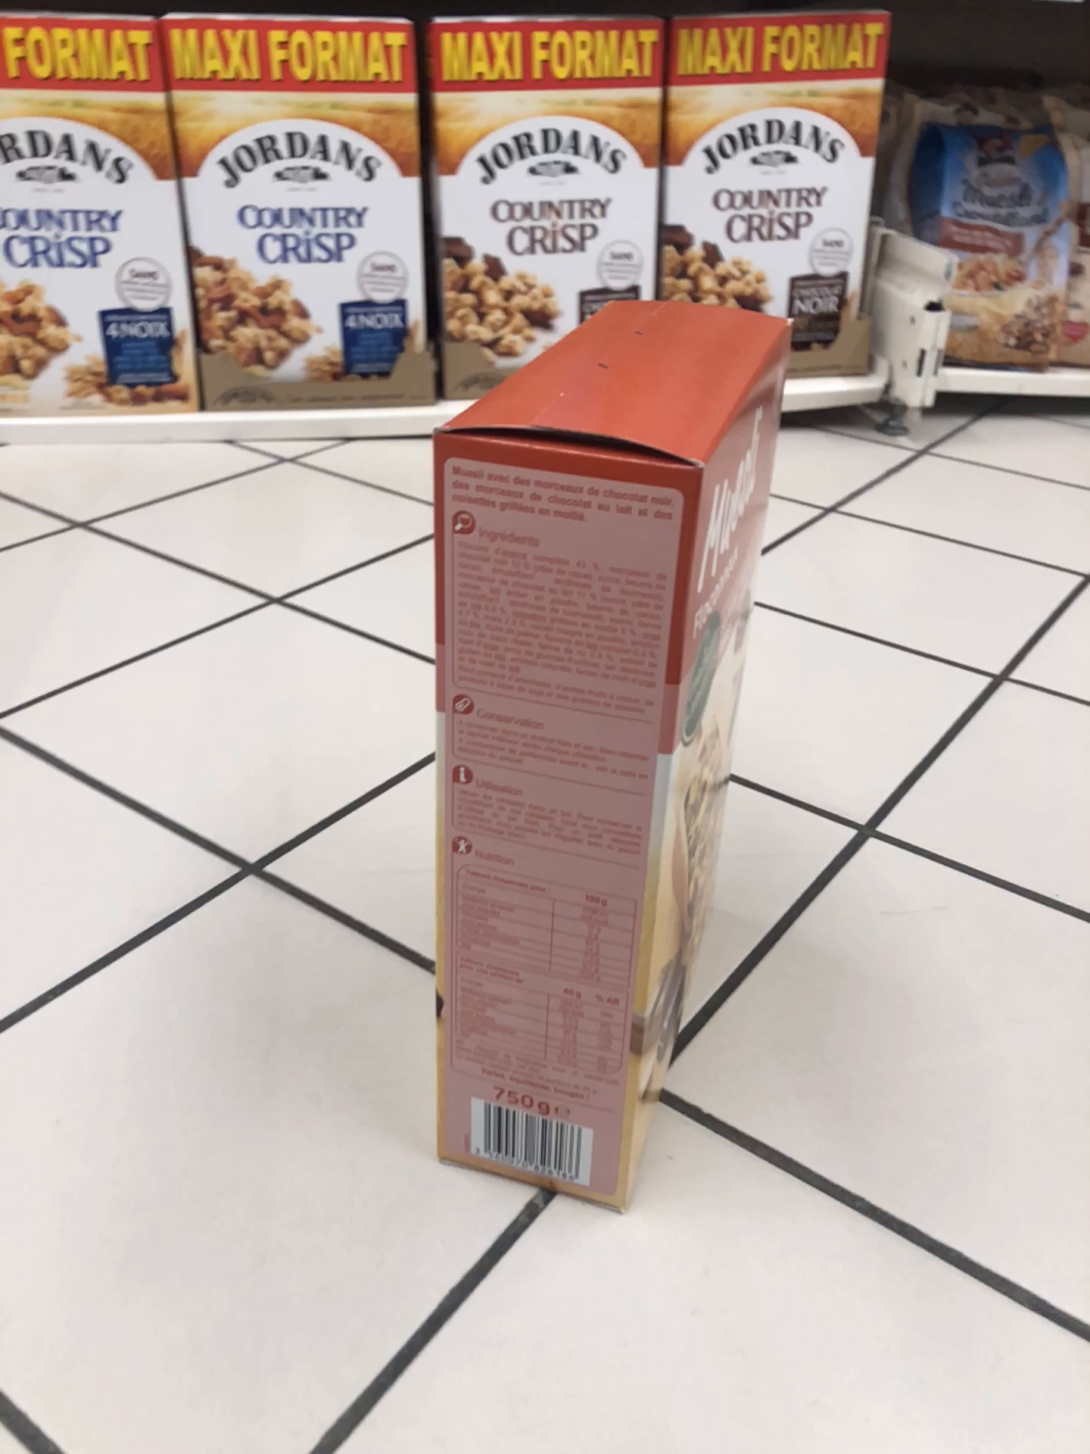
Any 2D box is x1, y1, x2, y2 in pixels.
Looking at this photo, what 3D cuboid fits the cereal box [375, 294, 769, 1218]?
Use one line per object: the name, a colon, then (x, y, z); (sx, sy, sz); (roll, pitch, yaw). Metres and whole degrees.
cereal box: (0.013, 0.001, 0.390); (0.070, 0.239, 0.171); (10, 30, 12)
